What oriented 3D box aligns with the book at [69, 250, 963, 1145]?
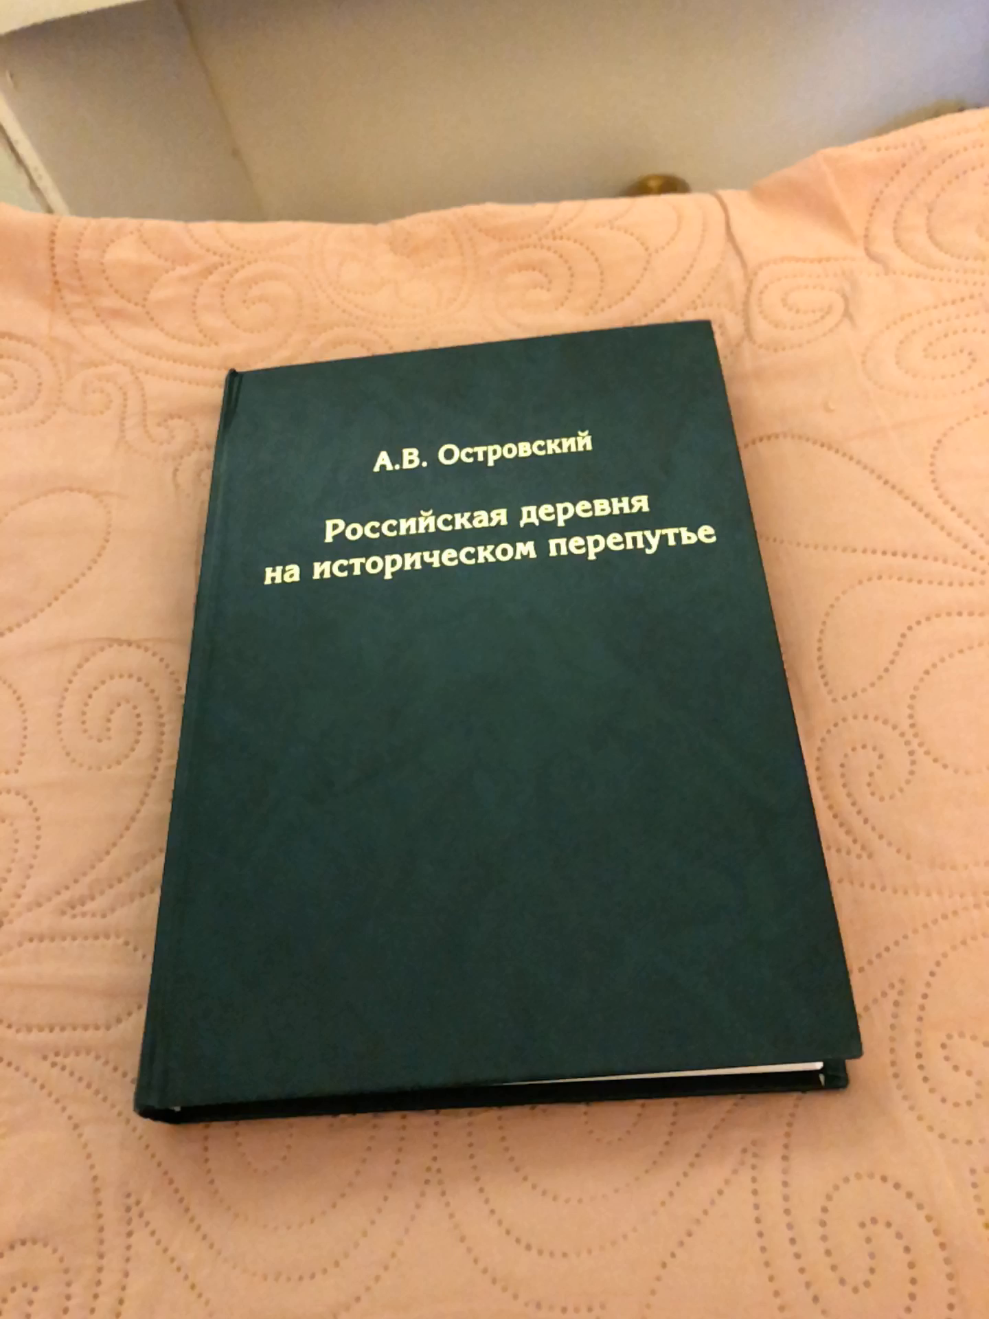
[{"bbox_3d":[-0.001,-0.006,0.299,0.180,0.040,0.241,-6,58,5],"label":"book"}]
